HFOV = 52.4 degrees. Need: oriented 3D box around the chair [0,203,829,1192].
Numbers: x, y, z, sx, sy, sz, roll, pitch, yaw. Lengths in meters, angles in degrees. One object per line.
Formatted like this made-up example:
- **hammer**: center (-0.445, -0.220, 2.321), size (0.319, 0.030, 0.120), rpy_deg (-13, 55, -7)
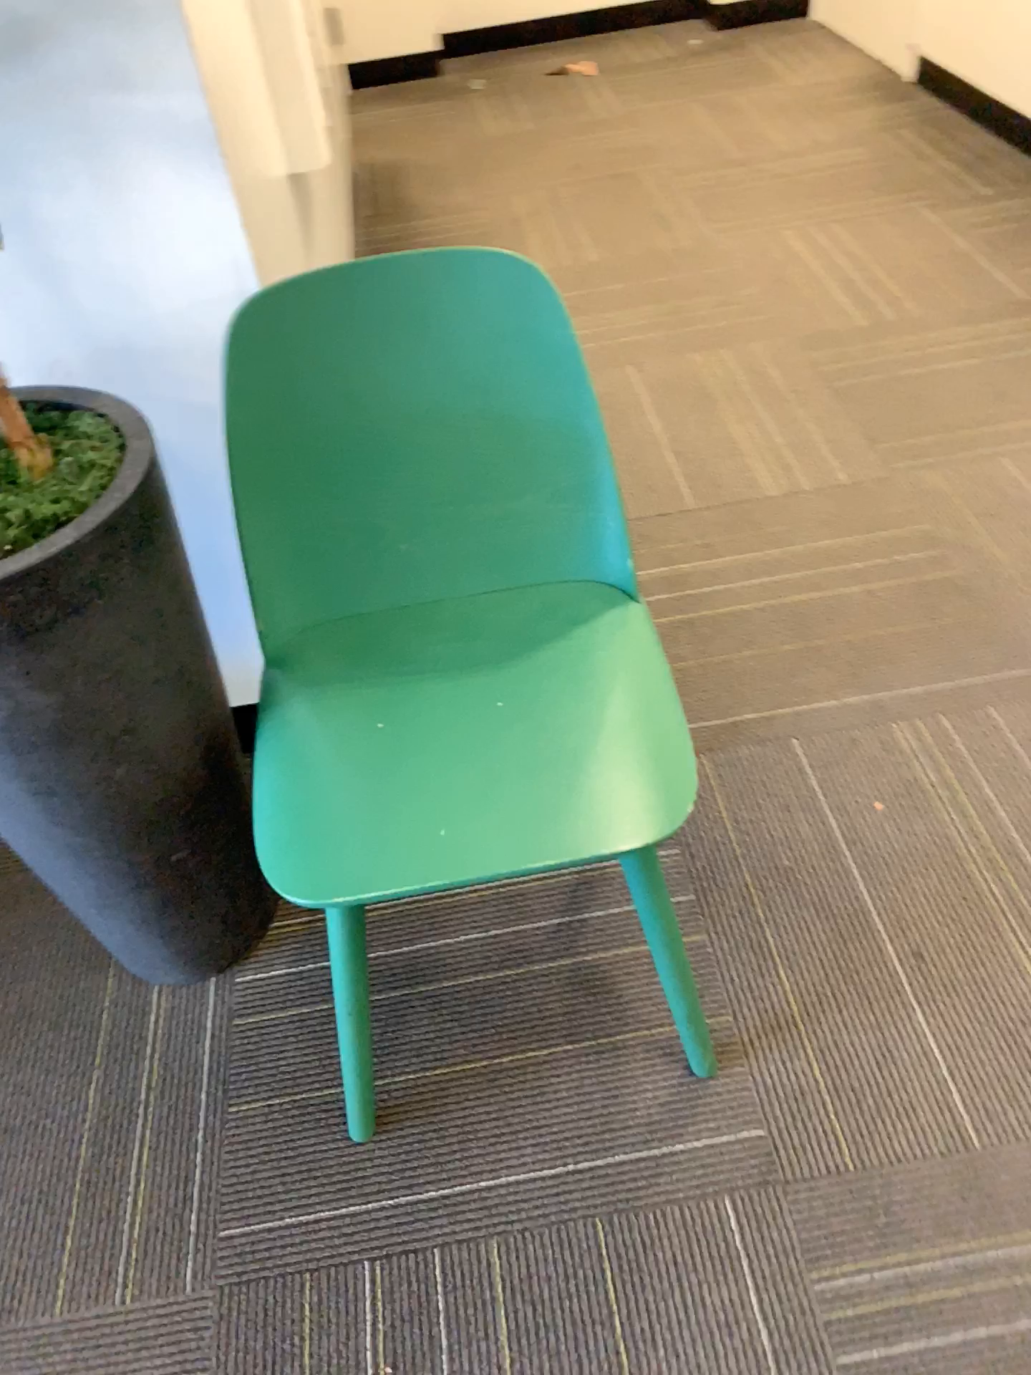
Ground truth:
- **chair**: center (-0.061, 0.027, 1.087), size (0.500, 0.746, 0.603), rpy_deg (-10, 44, -1)
